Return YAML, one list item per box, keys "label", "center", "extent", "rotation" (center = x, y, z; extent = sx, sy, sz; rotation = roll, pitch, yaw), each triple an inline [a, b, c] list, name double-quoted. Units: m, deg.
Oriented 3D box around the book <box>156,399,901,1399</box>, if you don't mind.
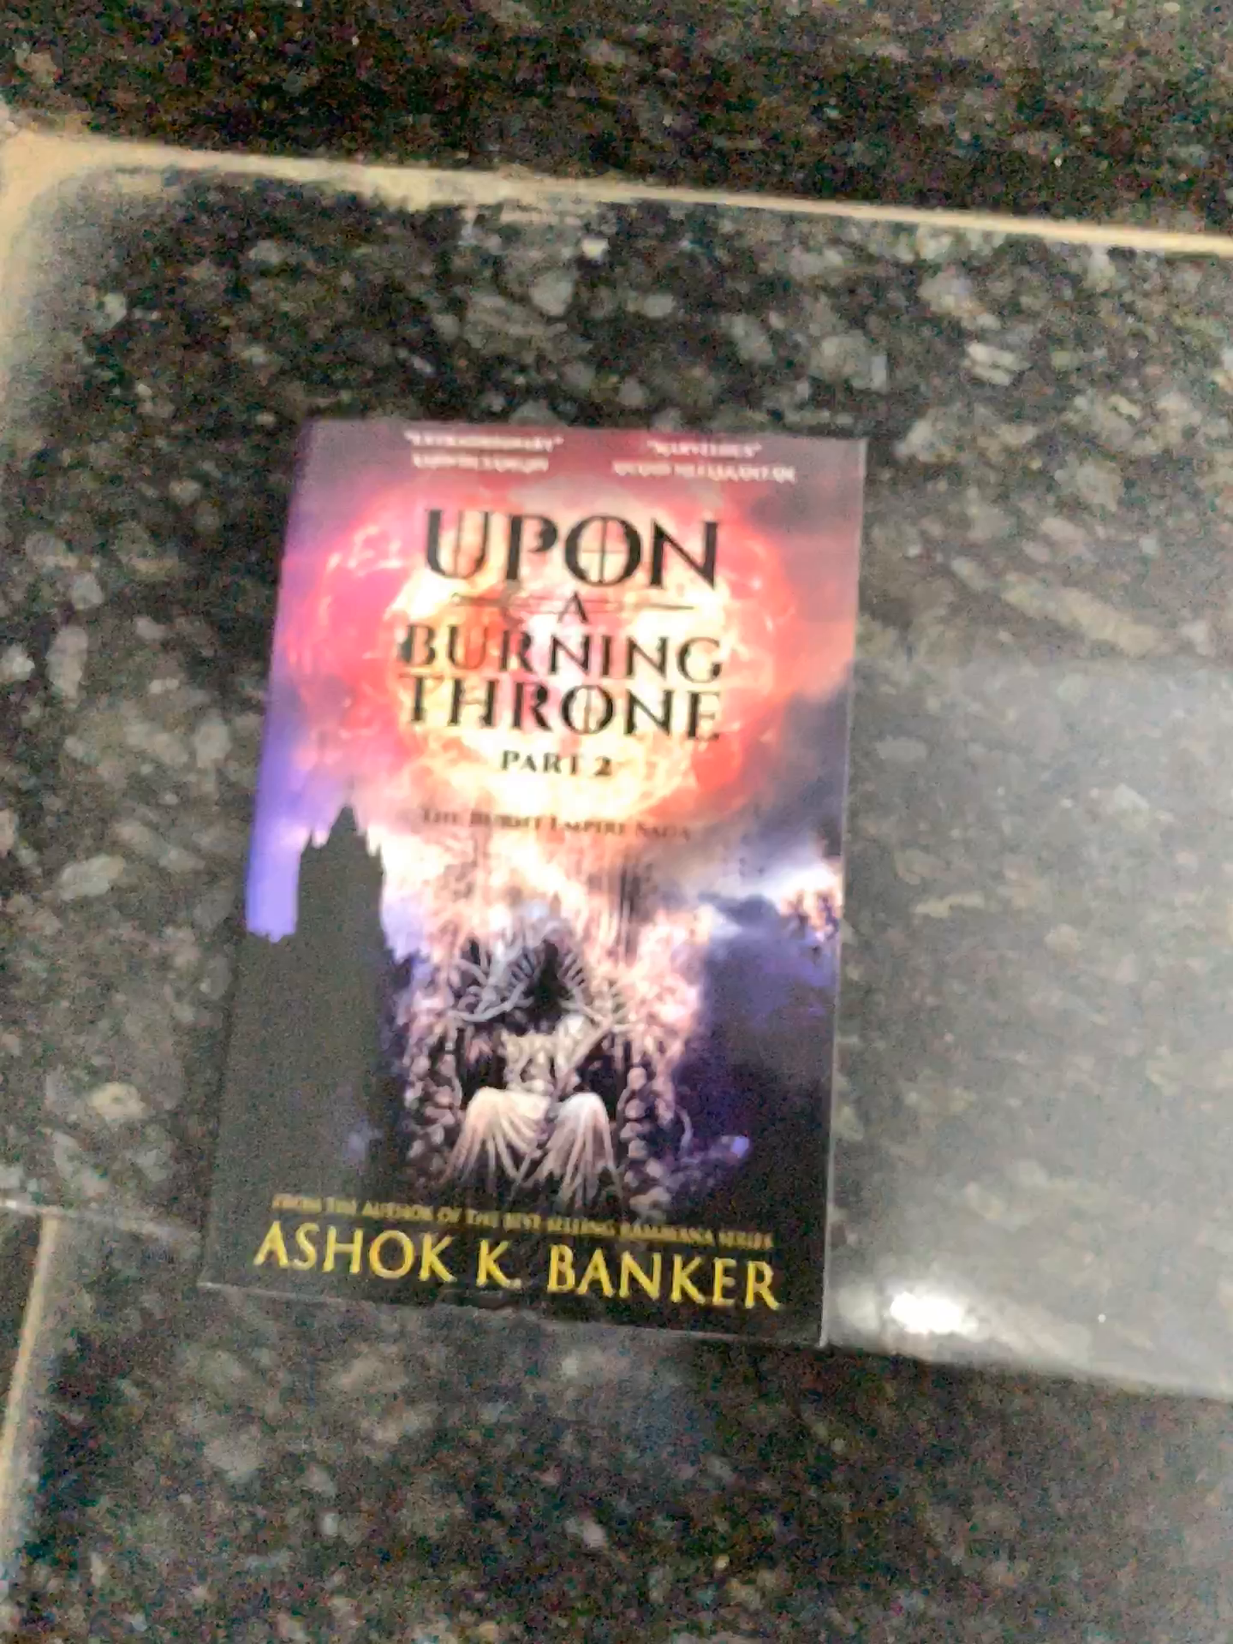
- label: "book"
  center: [-0.014, 0.010, 0.283]
  extent: [0.140, 0.030, 0.200]
  rotation: [3, 80, 4]
